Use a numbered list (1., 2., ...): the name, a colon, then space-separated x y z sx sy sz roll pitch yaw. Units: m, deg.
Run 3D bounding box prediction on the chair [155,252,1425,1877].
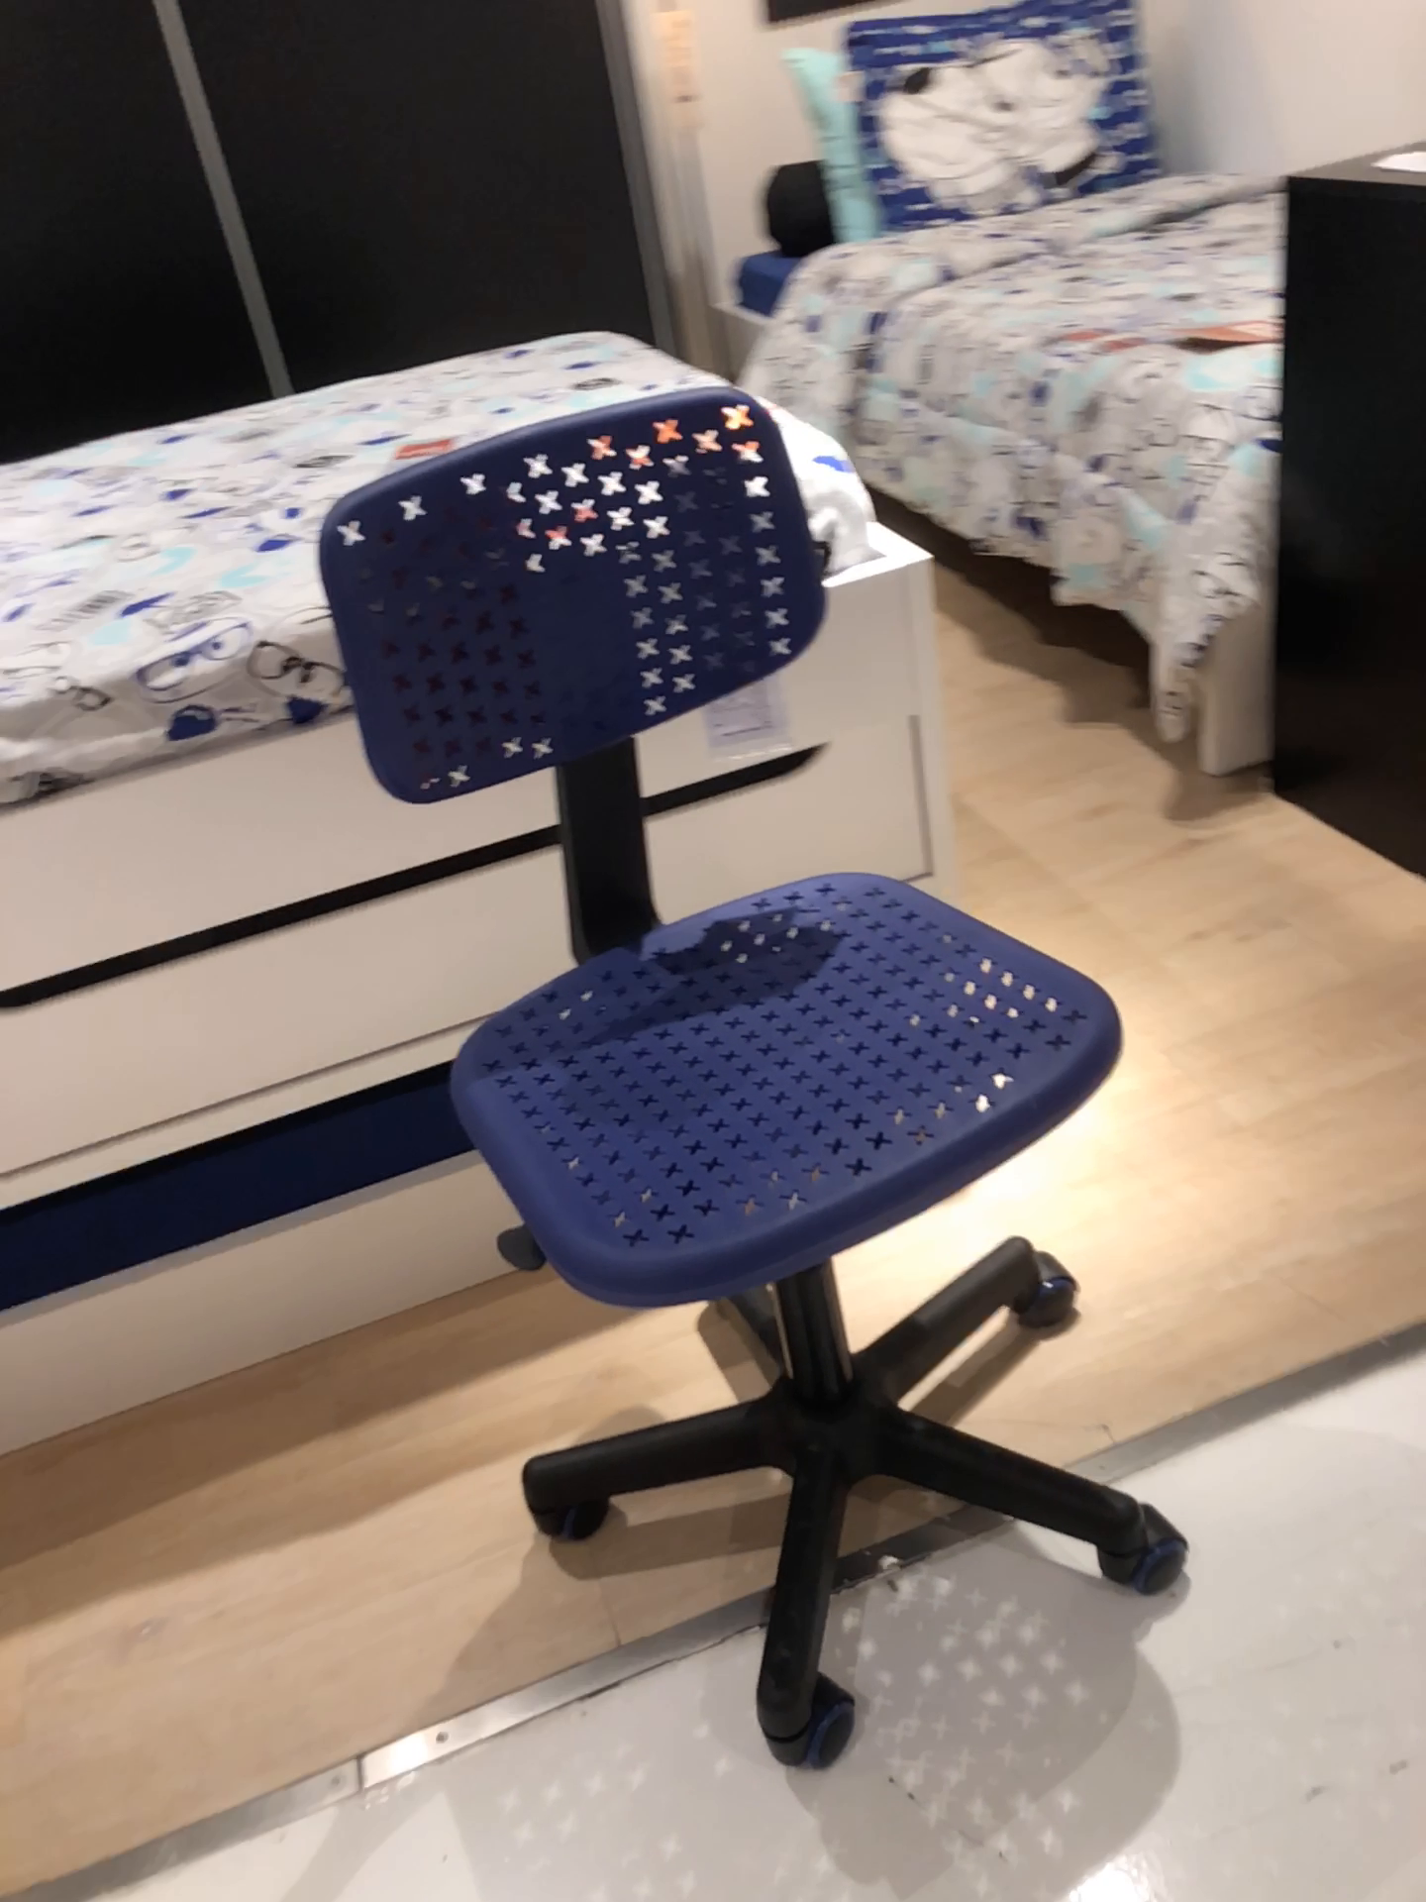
1. chair: 0.061 0.041 1.063 0.551 0.814 0.523 -20 32 -14
